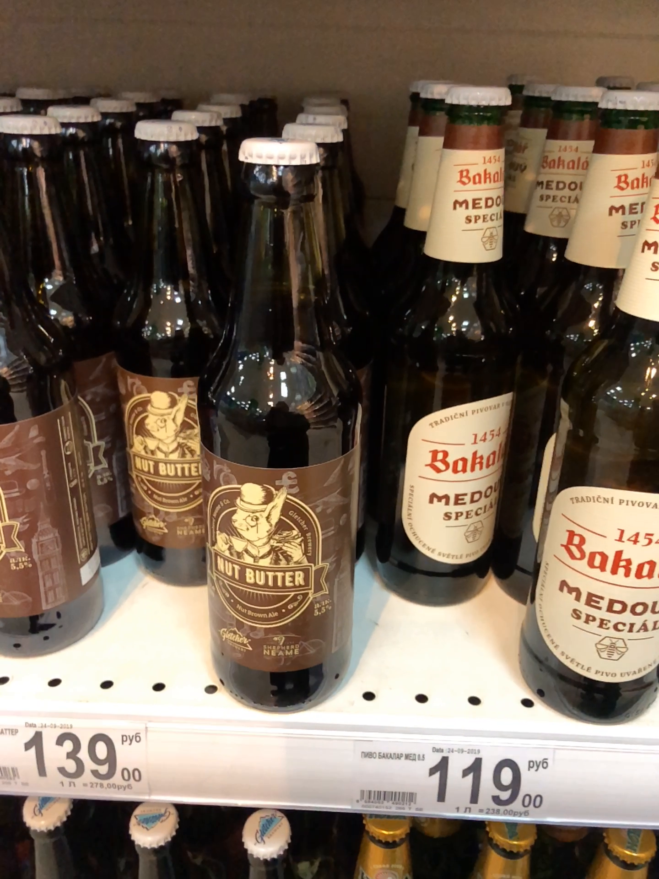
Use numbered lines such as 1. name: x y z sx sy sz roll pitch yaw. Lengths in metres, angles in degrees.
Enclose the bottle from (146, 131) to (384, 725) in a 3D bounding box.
1. bottle: -0.021 0.004 0.307 0.070 0.240 0.060 5 26 8
